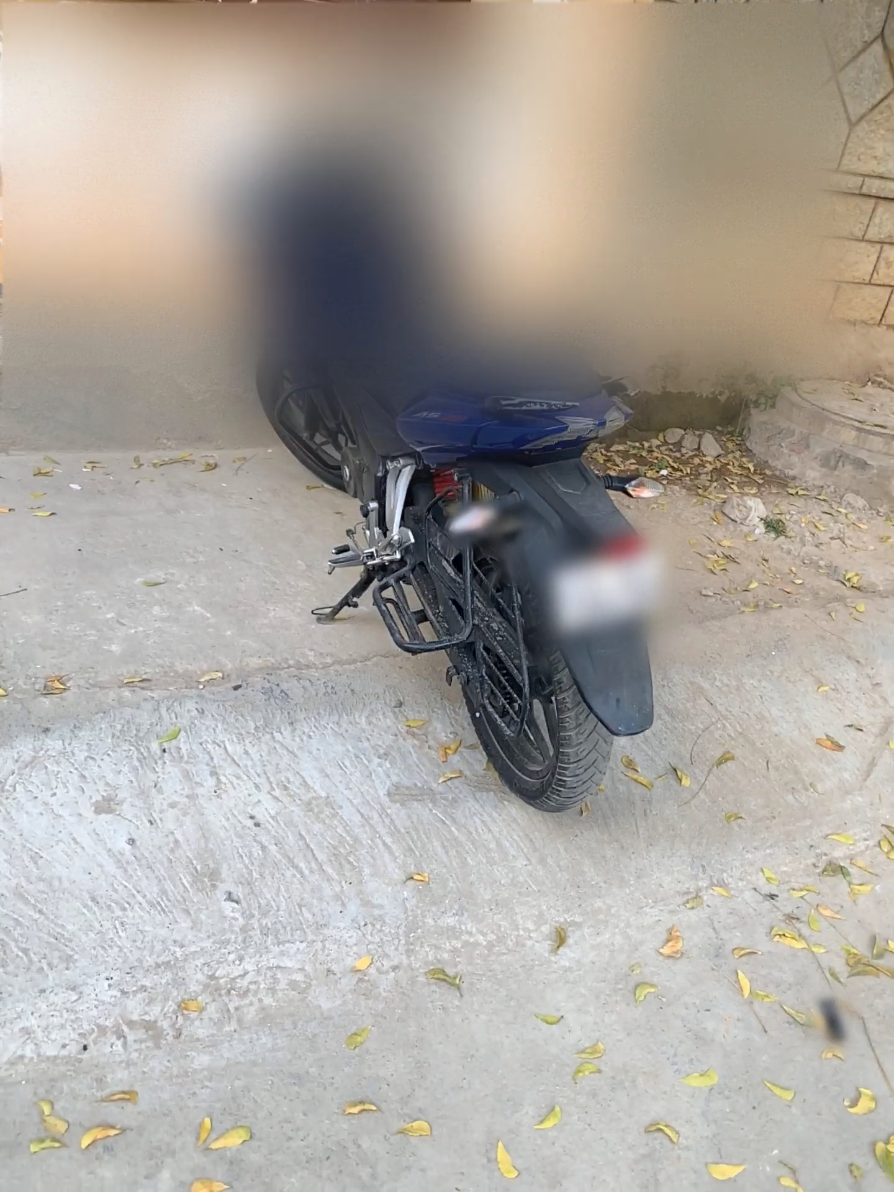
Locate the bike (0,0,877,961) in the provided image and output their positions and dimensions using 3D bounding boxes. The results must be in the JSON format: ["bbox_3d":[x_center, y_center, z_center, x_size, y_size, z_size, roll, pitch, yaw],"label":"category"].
[{"bbox_3d":[-0.284,-0.459,1.899,0.954,1.218,1.571,-10,42,-31],"label":"bike"}]
